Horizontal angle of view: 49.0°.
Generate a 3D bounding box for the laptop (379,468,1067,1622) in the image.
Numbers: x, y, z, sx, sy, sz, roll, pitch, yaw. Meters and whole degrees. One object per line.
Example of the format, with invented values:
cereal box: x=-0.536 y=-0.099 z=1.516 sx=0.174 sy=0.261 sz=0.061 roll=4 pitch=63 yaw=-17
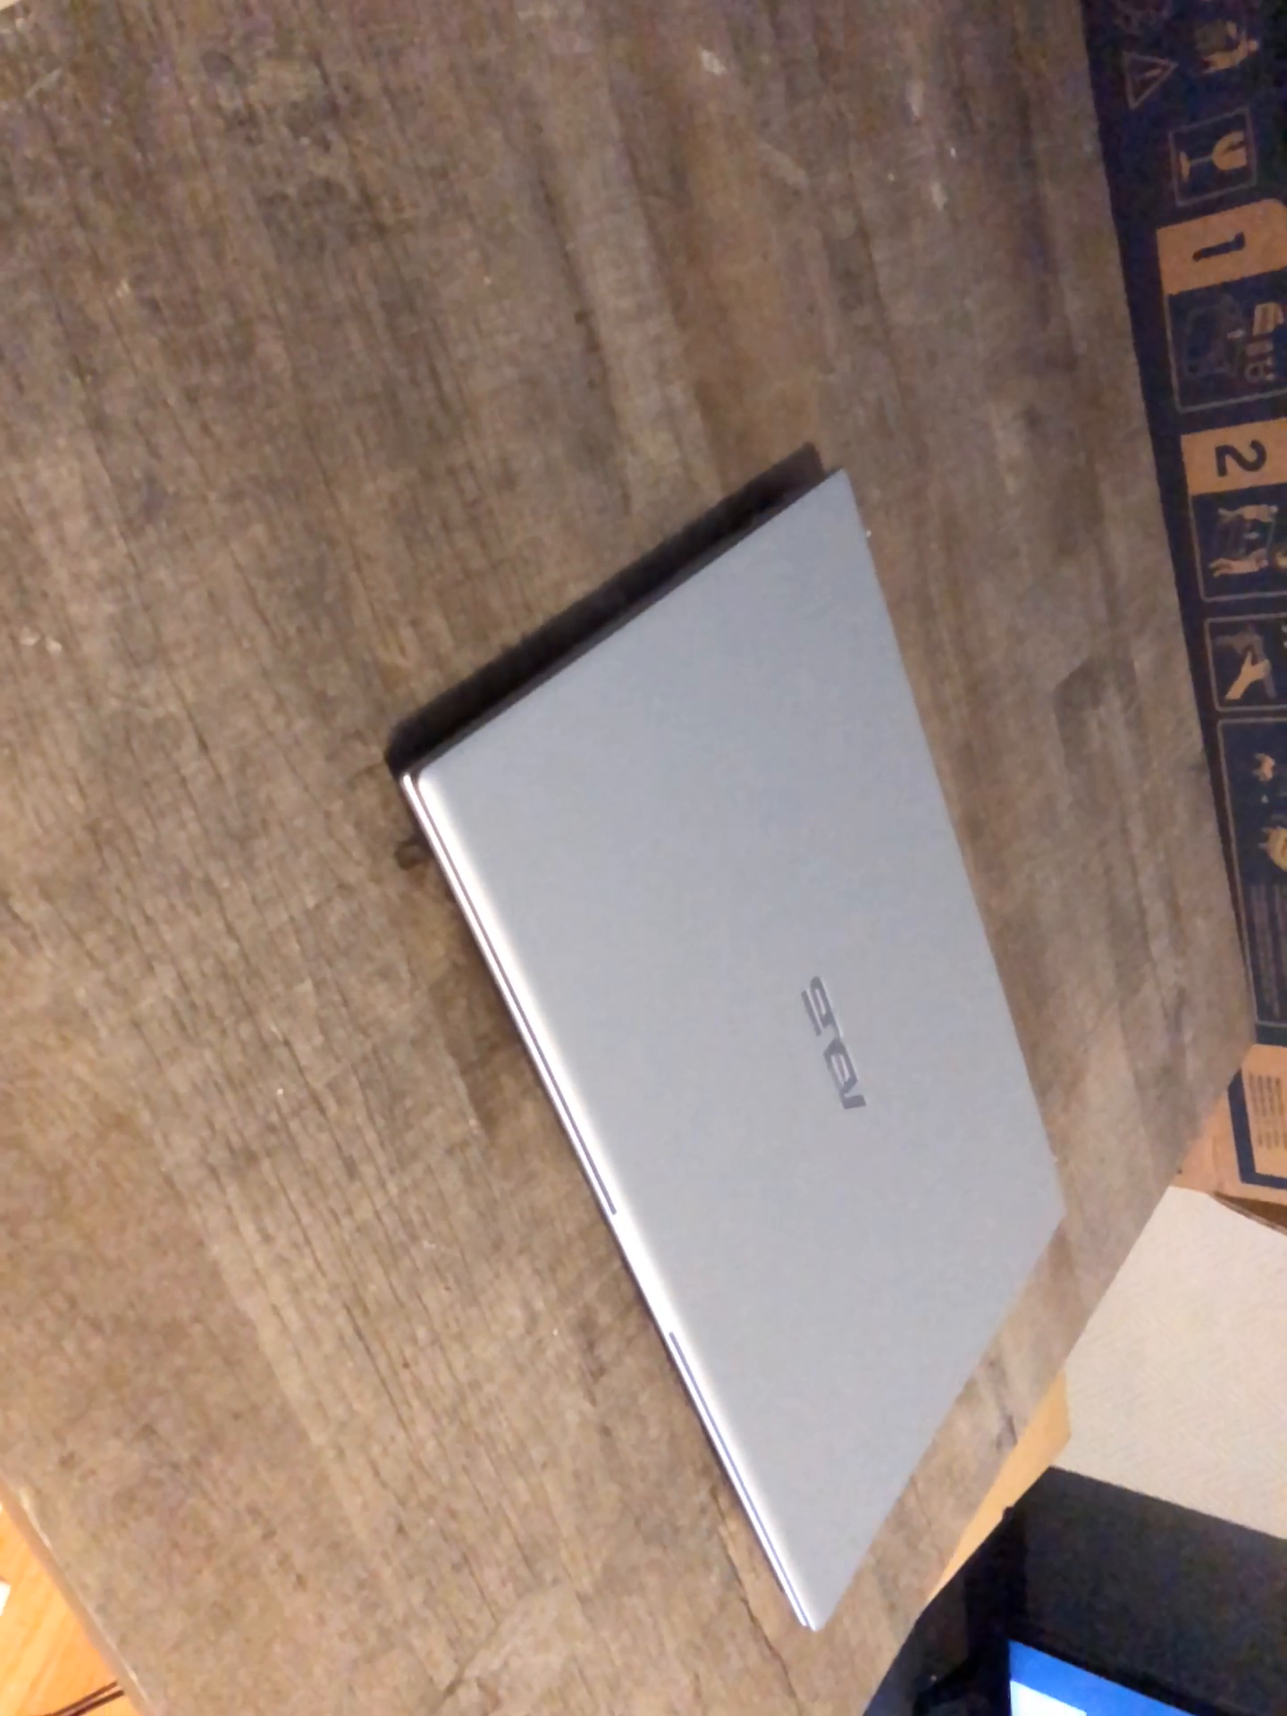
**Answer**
laptop: x=0.063 y=0.068 z=0.515 sx=0.228 sy=0.013 sz=0.354 roll=-43 pitch=121 yaw=-38
